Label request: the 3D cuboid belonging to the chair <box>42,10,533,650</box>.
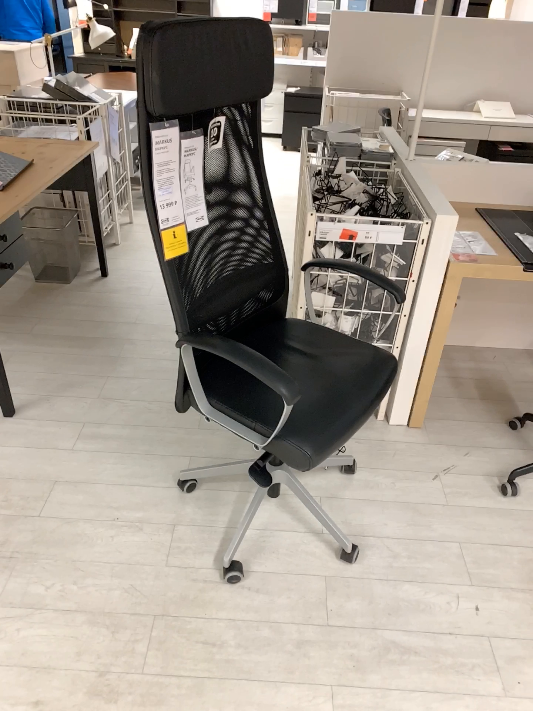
[{"bbox_3d":[0.066,-0.094,1.392,0.680,1.293,0.725,22,37,26],"label":"chair"}]
